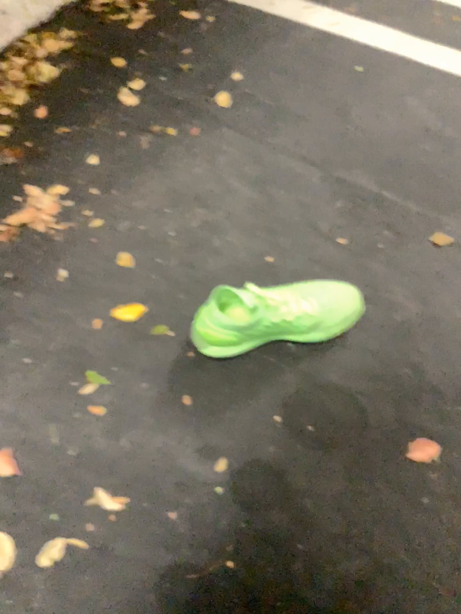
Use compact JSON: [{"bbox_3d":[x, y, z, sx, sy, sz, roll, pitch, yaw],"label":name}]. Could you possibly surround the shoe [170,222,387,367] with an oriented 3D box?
[{"bbox_3d":[0.075,-0.016,0.871,0.320,0.150,0.130,-9,55,2],"label":"shoe"}]
